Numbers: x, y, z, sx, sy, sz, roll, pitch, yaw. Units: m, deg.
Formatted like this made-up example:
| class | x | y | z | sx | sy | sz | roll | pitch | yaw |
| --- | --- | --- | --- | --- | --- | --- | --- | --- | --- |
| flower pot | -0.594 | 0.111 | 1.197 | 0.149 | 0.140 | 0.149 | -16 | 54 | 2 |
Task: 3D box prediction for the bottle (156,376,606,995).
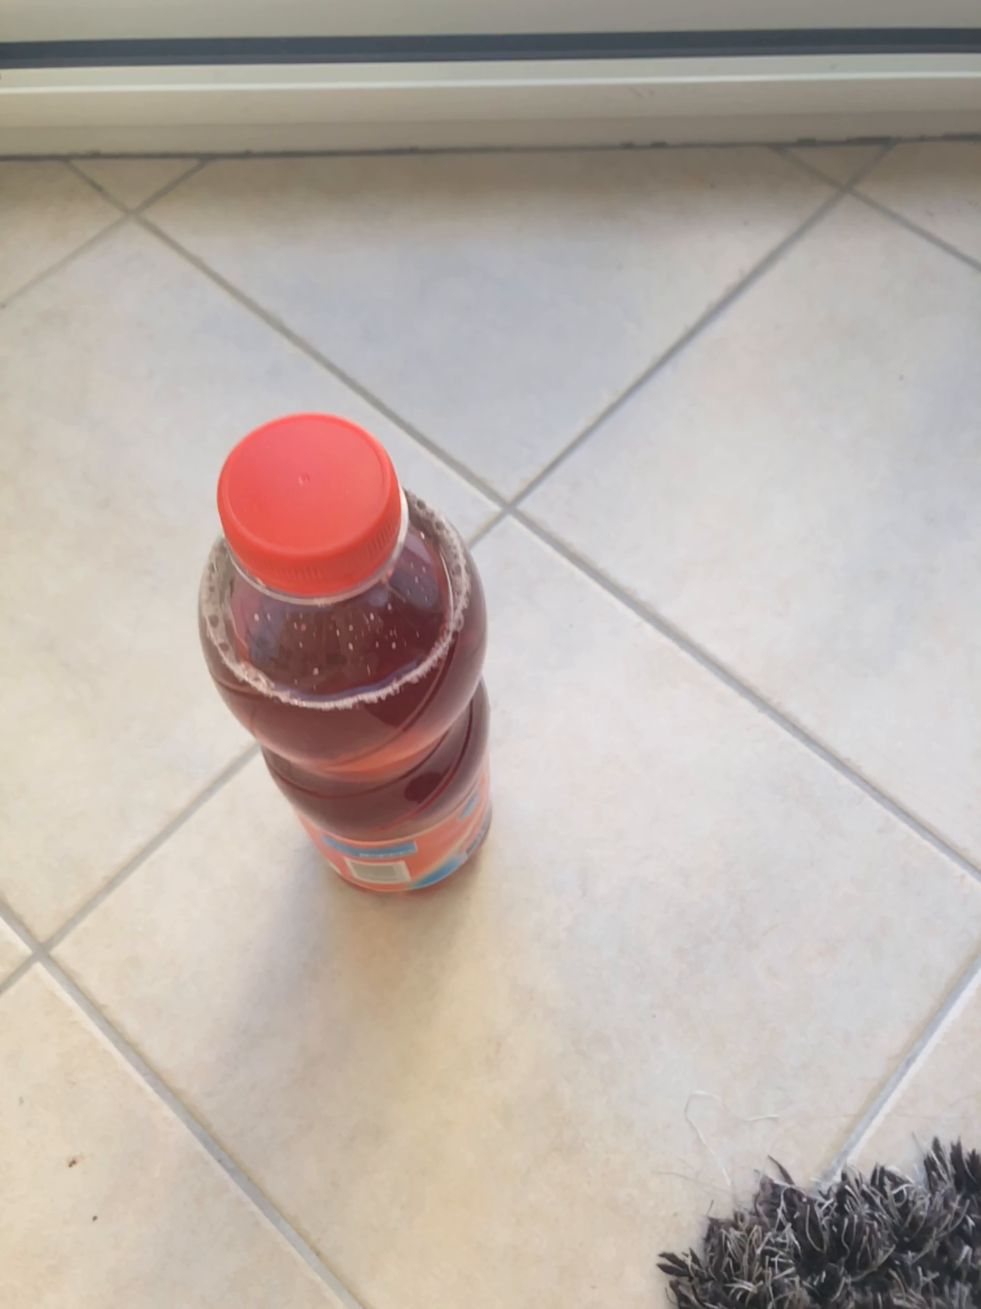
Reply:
| class | x | y | z | sx | sy | sz | roll | pitch | yaw |
| --- | --- | --- | --- | --- | --- | --- | --- | --- | --- |
| bottle | -0.025 | 0.037 | 0.341 | 0.080 | 0.259 | 0.090 | -10 | 66 | -4 |
